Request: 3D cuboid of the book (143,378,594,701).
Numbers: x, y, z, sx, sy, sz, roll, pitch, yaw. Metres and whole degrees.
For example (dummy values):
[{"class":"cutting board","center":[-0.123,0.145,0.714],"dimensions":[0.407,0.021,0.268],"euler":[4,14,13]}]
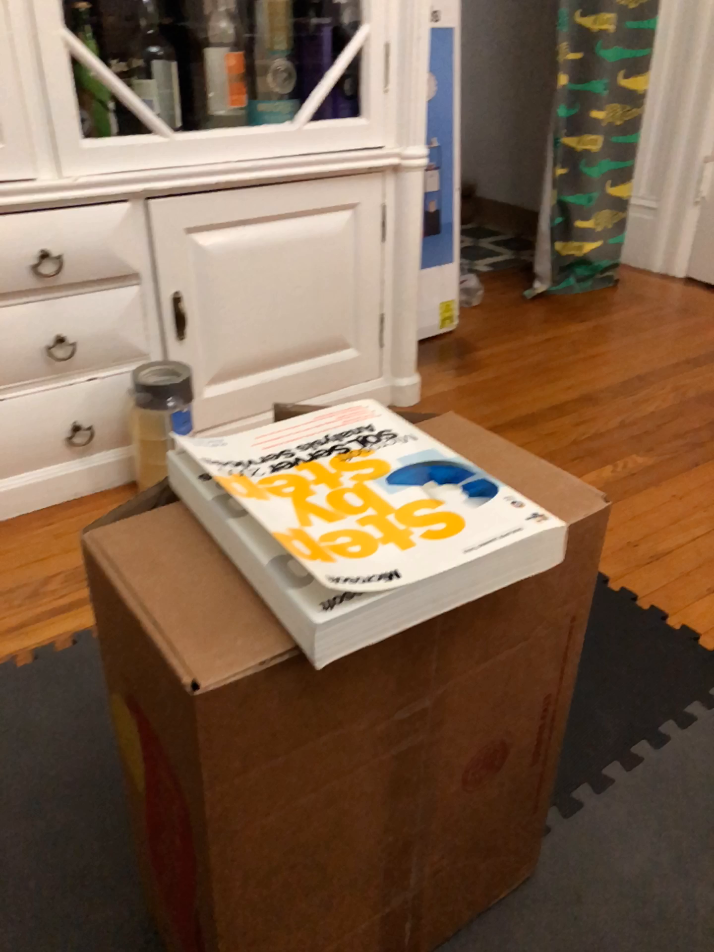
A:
[{"class":"book","center":[-0.002,0.018,0.540],"dimensions":[0.201,0.050,0.241],"euler":[-23,35,-29]}]
